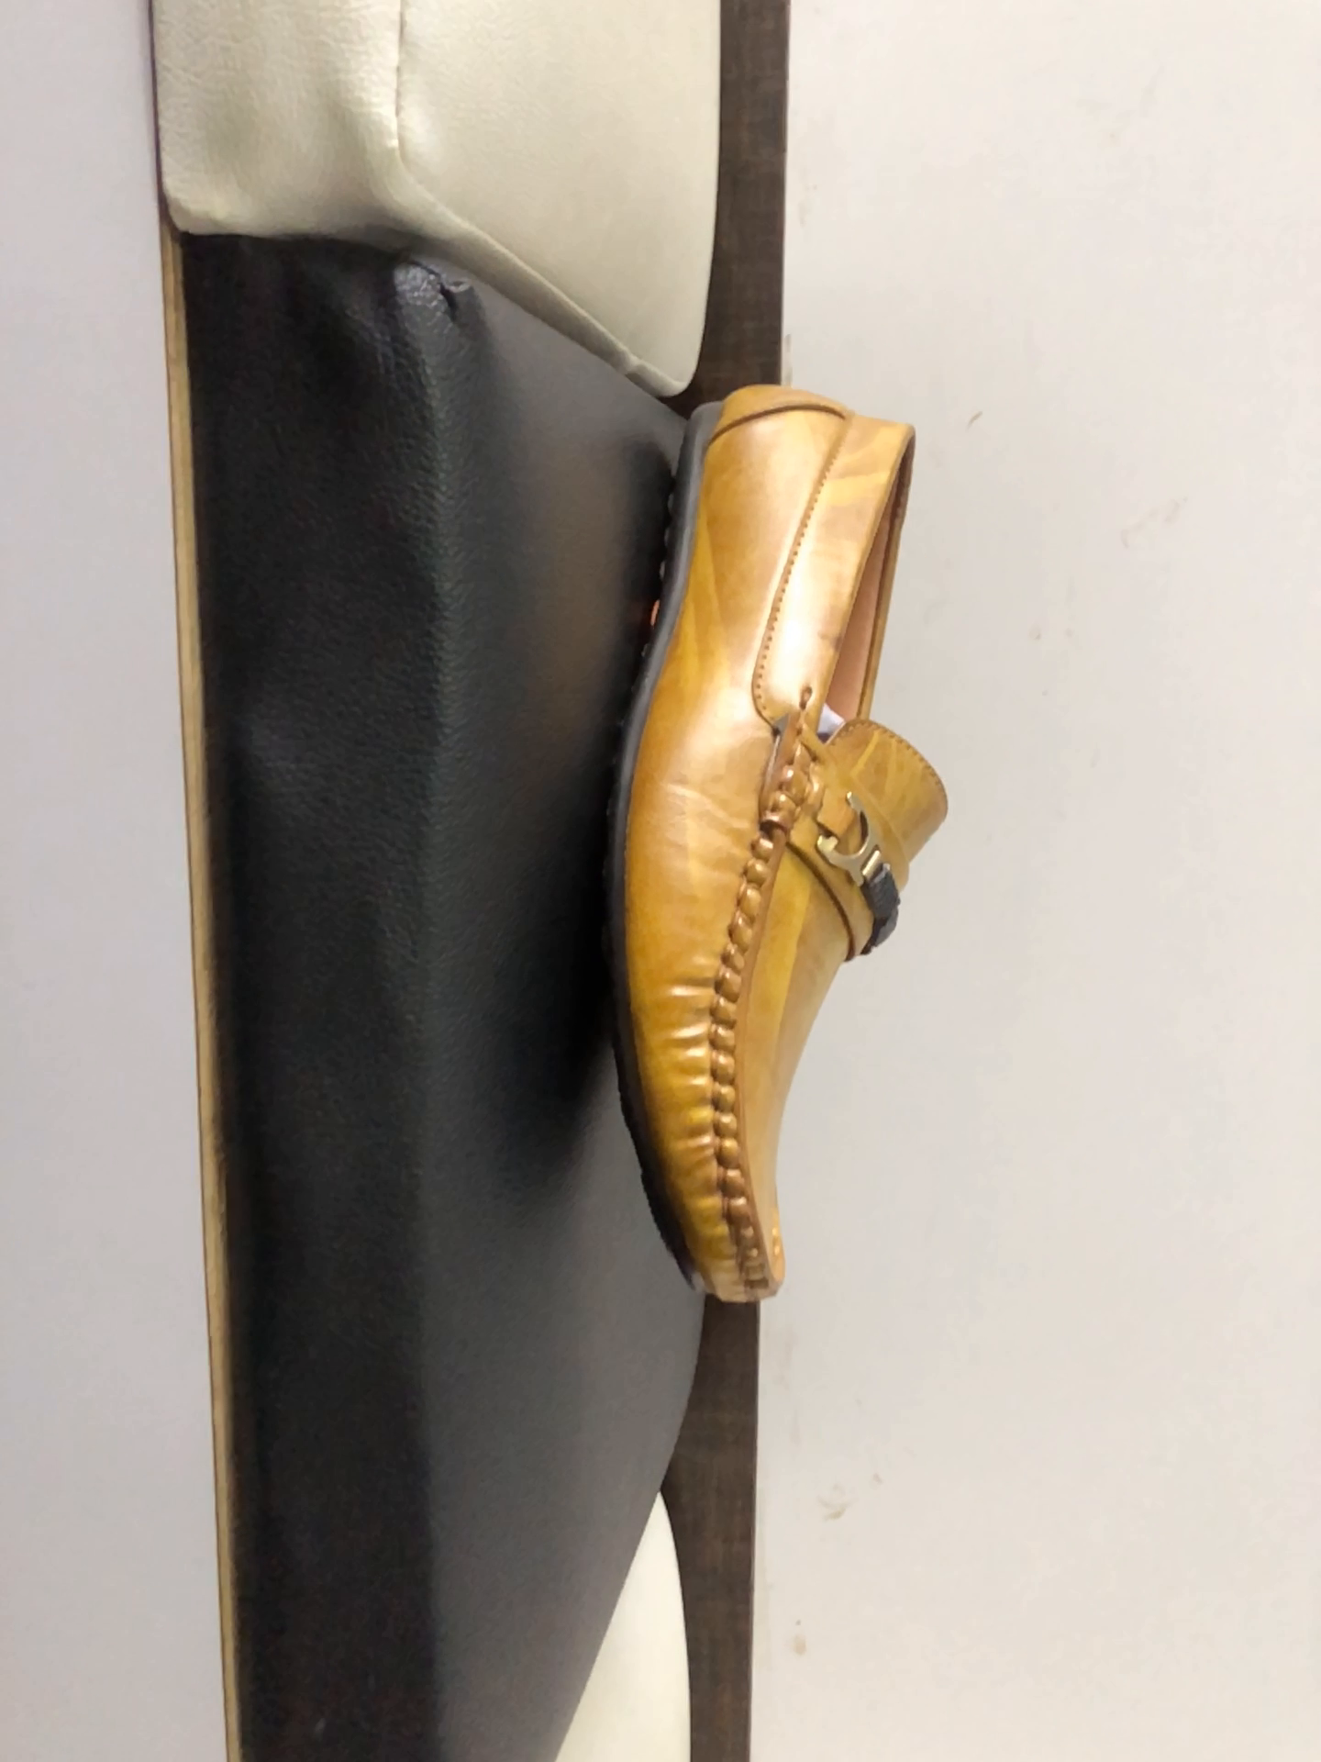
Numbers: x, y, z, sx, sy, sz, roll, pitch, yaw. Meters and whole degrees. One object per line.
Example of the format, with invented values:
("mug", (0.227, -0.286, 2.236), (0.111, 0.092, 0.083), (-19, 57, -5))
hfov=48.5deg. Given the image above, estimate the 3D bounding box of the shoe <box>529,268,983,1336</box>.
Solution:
("shoe", (0.045, -0.019, 0.446), (0.171, 0.090, 0.270), (71, 24, -62))
